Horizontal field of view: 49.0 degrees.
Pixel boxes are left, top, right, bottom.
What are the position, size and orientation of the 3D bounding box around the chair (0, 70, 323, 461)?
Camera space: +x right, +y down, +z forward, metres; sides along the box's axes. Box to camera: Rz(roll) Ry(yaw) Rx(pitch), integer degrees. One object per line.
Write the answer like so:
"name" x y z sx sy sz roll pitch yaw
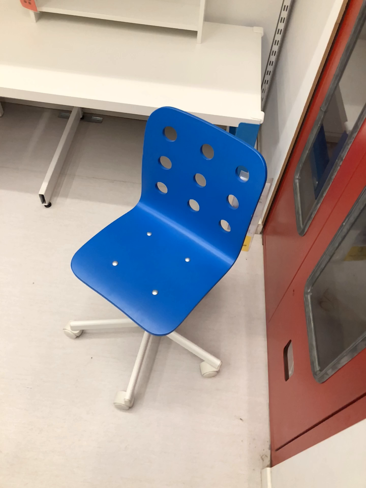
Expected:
"chair" -0.118 0.088 1.009 0.551 0.686 0.492 32 58 17
